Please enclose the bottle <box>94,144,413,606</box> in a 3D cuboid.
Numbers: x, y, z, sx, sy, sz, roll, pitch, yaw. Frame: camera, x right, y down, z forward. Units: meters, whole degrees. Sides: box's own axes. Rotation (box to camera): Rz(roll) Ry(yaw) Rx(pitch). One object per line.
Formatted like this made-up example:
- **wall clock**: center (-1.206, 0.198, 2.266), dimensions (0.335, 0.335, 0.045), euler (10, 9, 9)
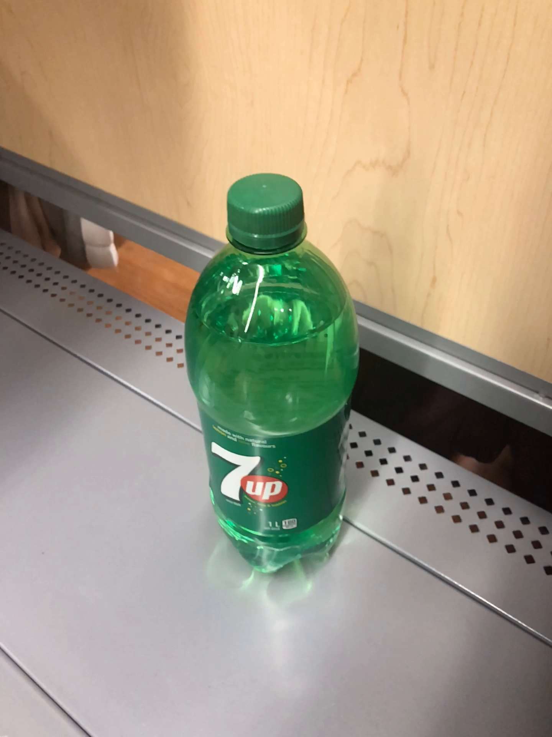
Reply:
- **bottle**: center (-0.003, 0.021, 0.324), dimensions (0.100, 0.238, 0.080), euler (16, 49, 17)
